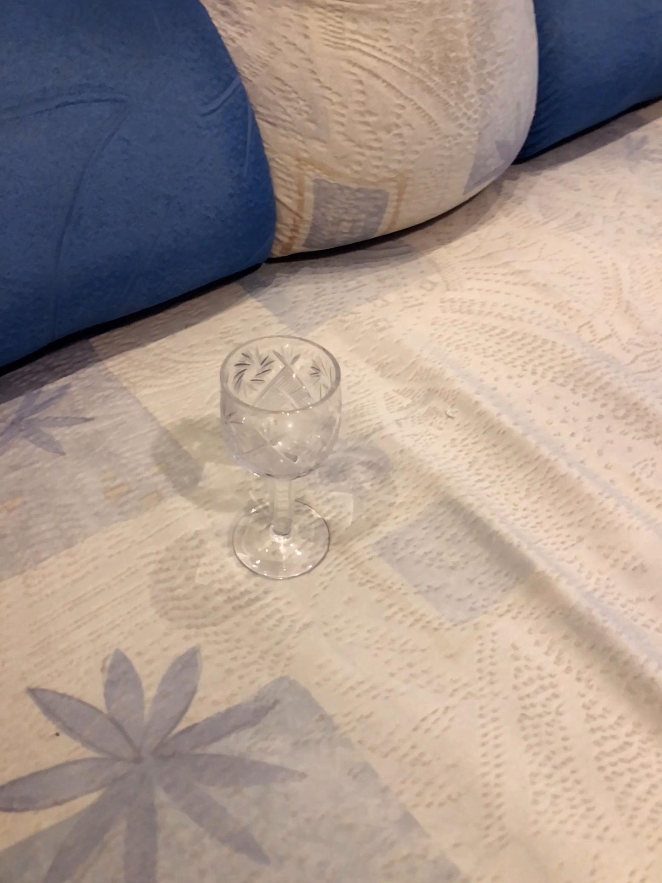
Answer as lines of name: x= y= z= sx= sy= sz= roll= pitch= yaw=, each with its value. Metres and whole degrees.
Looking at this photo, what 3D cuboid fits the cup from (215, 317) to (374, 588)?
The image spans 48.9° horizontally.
cup: x=-0.016 y=0.009 z=0.338 sx=0.060 sy=0.119 sz=0.060 roll=1 pitch=47 yaw=-1
